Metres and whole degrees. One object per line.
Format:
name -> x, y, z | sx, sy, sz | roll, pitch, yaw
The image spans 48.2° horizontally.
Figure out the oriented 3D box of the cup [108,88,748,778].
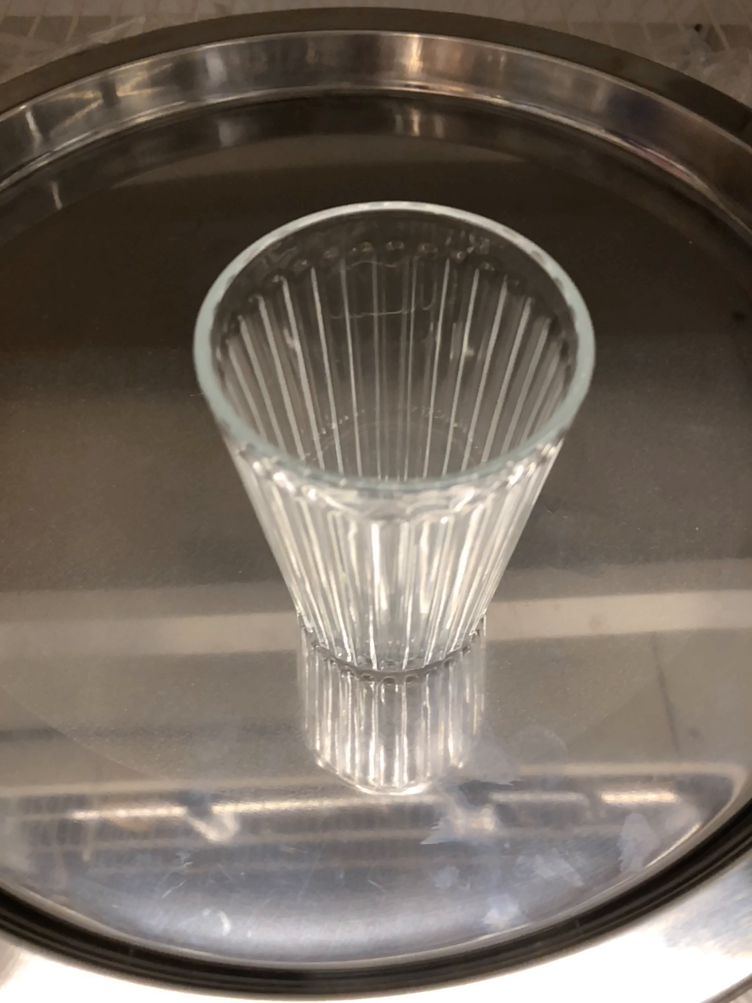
cup -> 0.005, -0.007, 0.166 | 0.070, 0.100, 0.070 | -1, 57, 1
